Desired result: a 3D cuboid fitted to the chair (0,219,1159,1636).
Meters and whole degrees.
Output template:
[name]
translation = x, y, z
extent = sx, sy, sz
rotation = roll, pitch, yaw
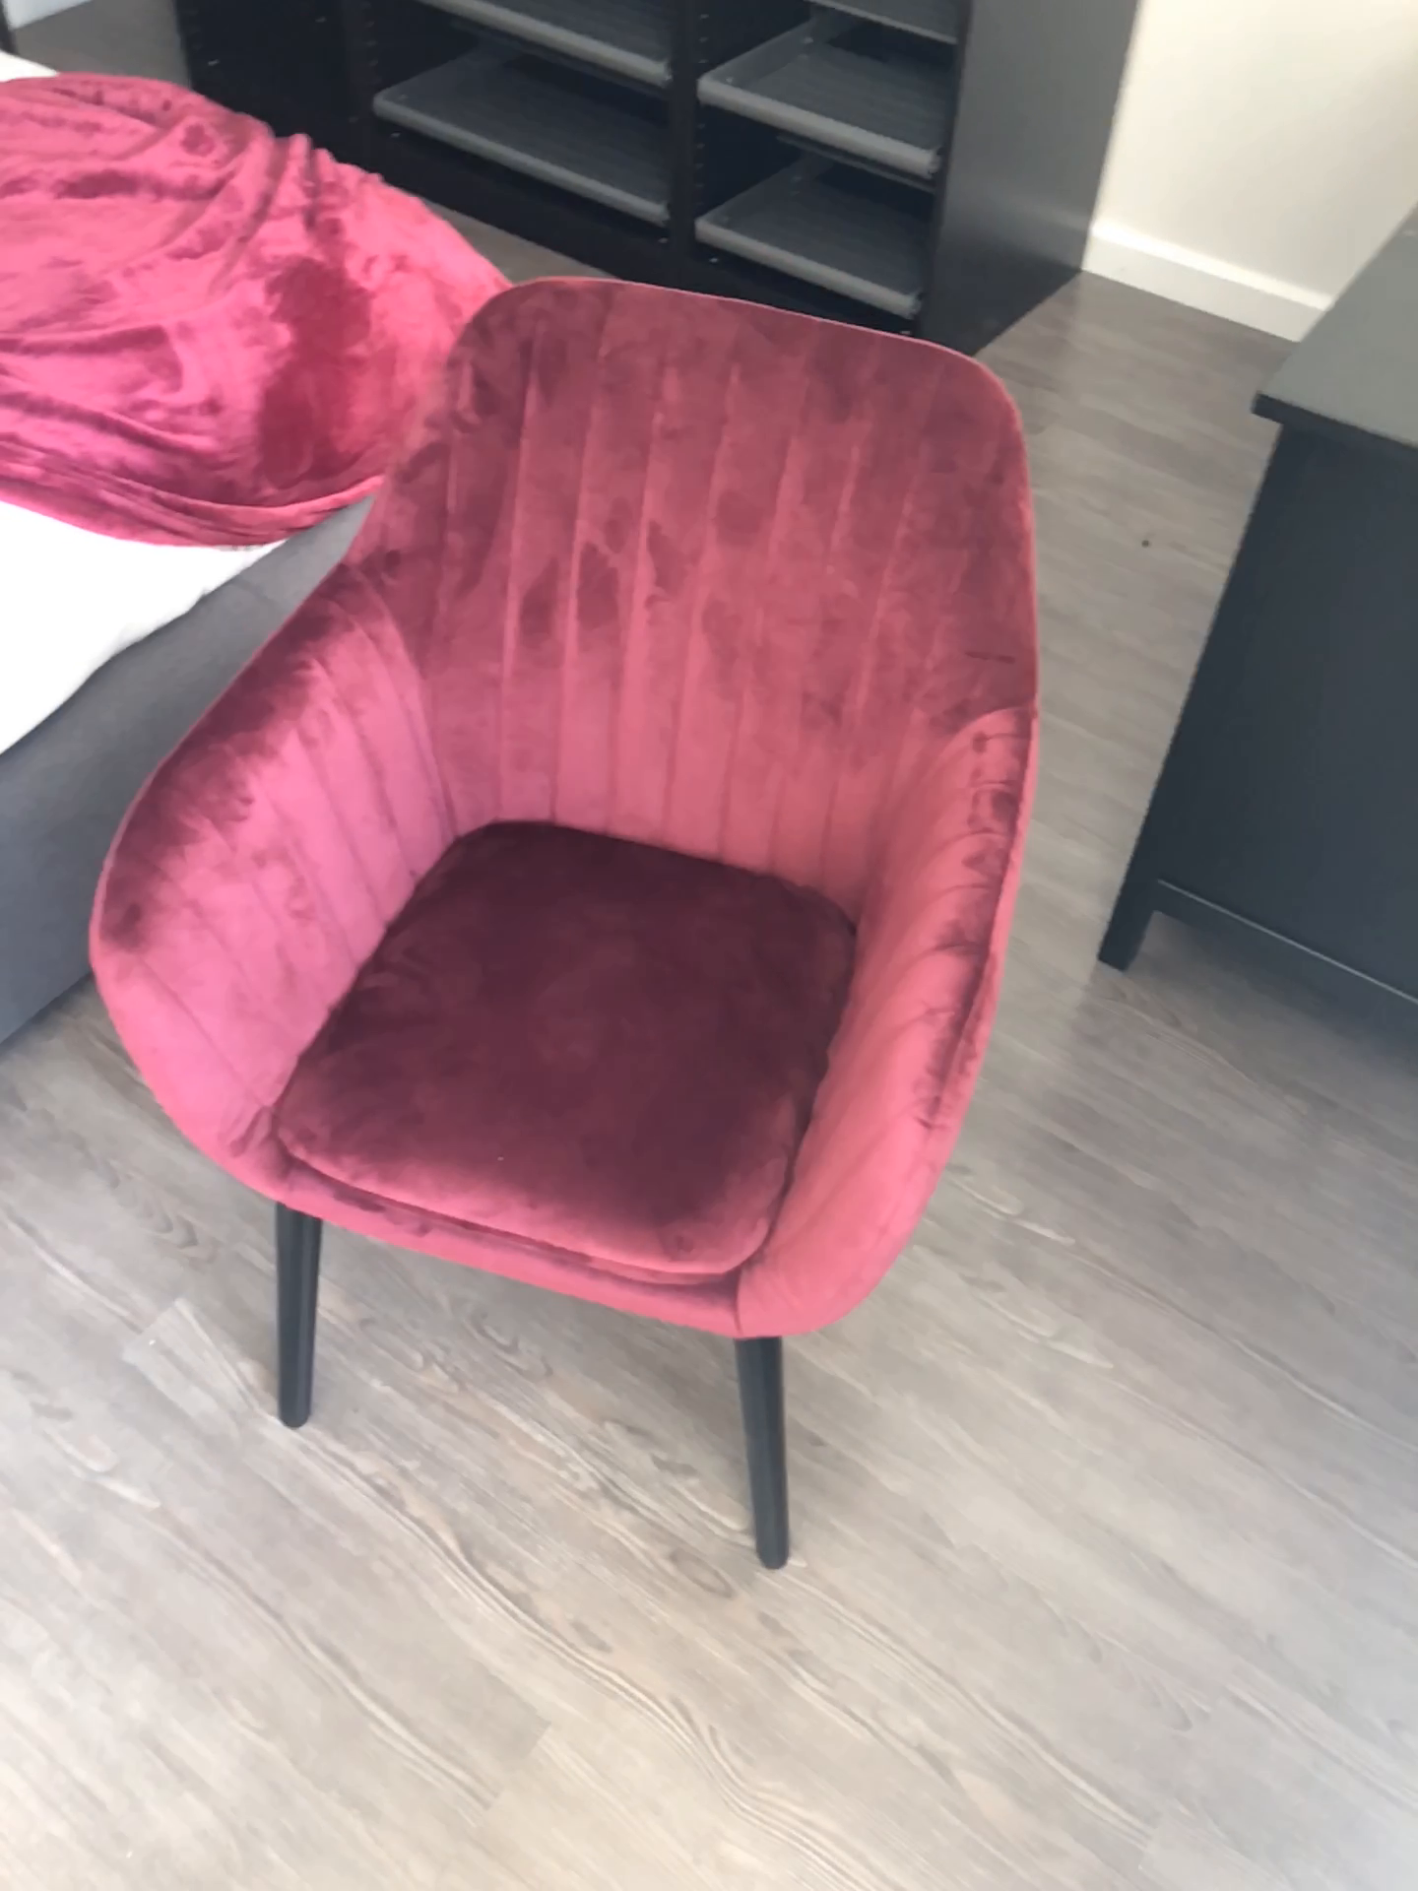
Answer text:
[chair]
translation = -0.073, 0.029, 1.182
extent = 0.540, 0.835, 0.553
rotation = 16, 50, 10
